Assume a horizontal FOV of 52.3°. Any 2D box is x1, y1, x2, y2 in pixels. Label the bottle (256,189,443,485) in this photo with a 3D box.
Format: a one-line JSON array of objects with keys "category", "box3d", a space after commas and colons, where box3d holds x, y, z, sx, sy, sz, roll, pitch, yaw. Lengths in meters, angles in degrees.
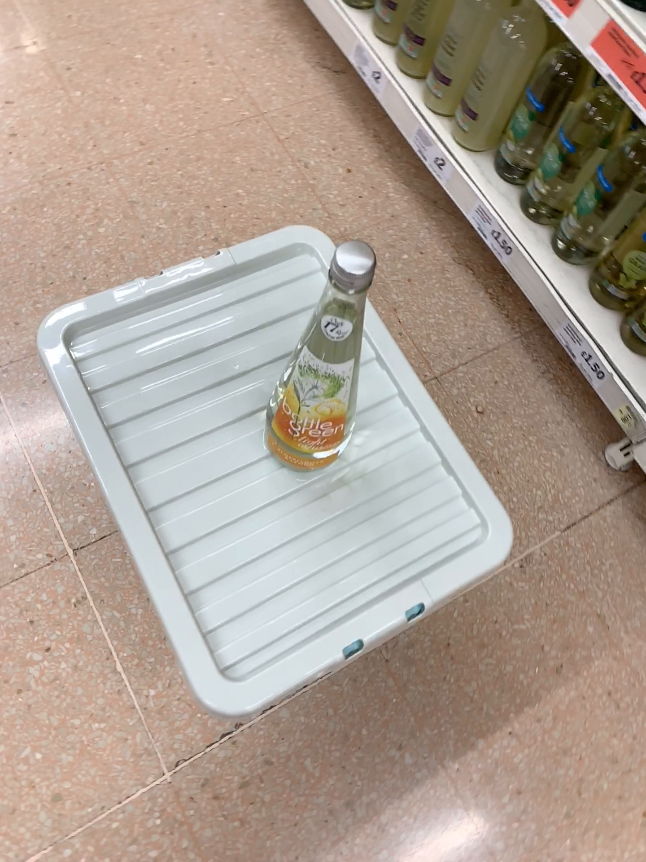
[{"category": "bottle", "box3d": [0.006, -0.052, 0.545, 0.090, 0.289, 0.090, 3, 67, -7]}]
